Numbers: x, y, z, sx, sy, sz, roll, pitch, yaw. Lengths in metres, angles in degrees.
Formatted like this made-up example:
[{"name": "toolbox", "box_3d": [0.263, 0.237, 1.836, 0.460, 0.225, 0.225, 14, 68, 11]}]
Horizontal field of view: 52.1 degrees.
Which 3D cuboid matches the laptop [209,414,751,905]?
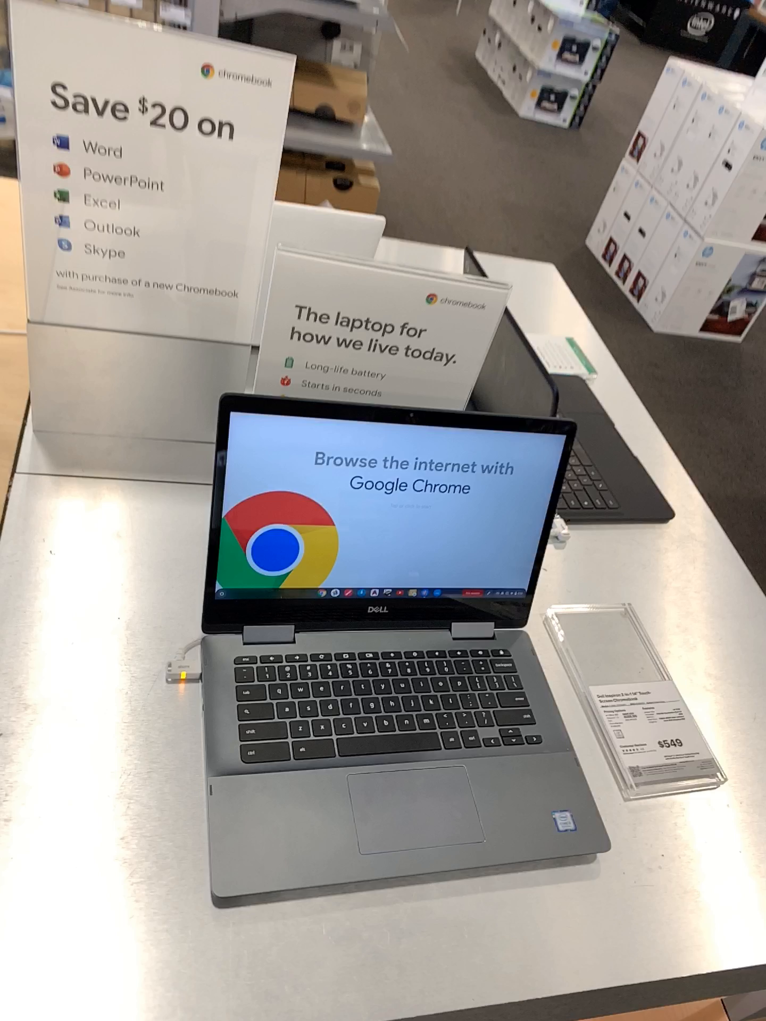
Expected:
[{"name": "laptop", "box_3d": [0.035, 0.100, 0.622, 0.310, 0.203, 0.293, 1, 44, -18]}]
